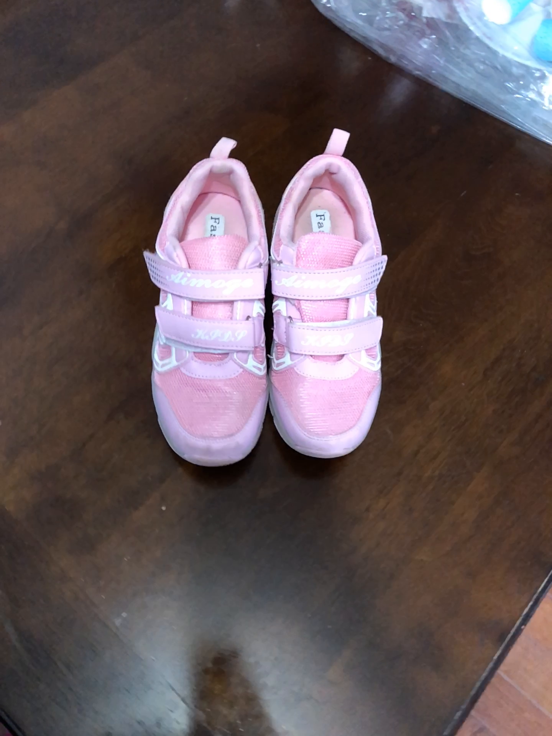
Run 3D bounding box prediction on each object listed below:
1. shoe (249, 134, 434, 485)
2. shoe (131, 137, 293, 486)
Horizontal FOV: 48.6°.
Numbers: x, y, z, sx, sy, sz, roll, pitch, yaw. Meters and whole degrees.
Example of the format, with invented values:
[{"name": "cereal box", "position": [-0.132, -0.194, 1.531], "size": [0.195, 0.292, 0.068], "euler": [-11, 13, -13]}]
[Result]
[{"name": "shoe", "position": [0.038, -0.049, 0.495], "size": [0.110, 0.110, 0.260], "euler": [-1, 65, -4]}, {"name": "shoe", "position": [-0.046, -0.045, 0.482], "size": [0.100, 0.110, 0.250], "euler": [0, 65, -4]}]
